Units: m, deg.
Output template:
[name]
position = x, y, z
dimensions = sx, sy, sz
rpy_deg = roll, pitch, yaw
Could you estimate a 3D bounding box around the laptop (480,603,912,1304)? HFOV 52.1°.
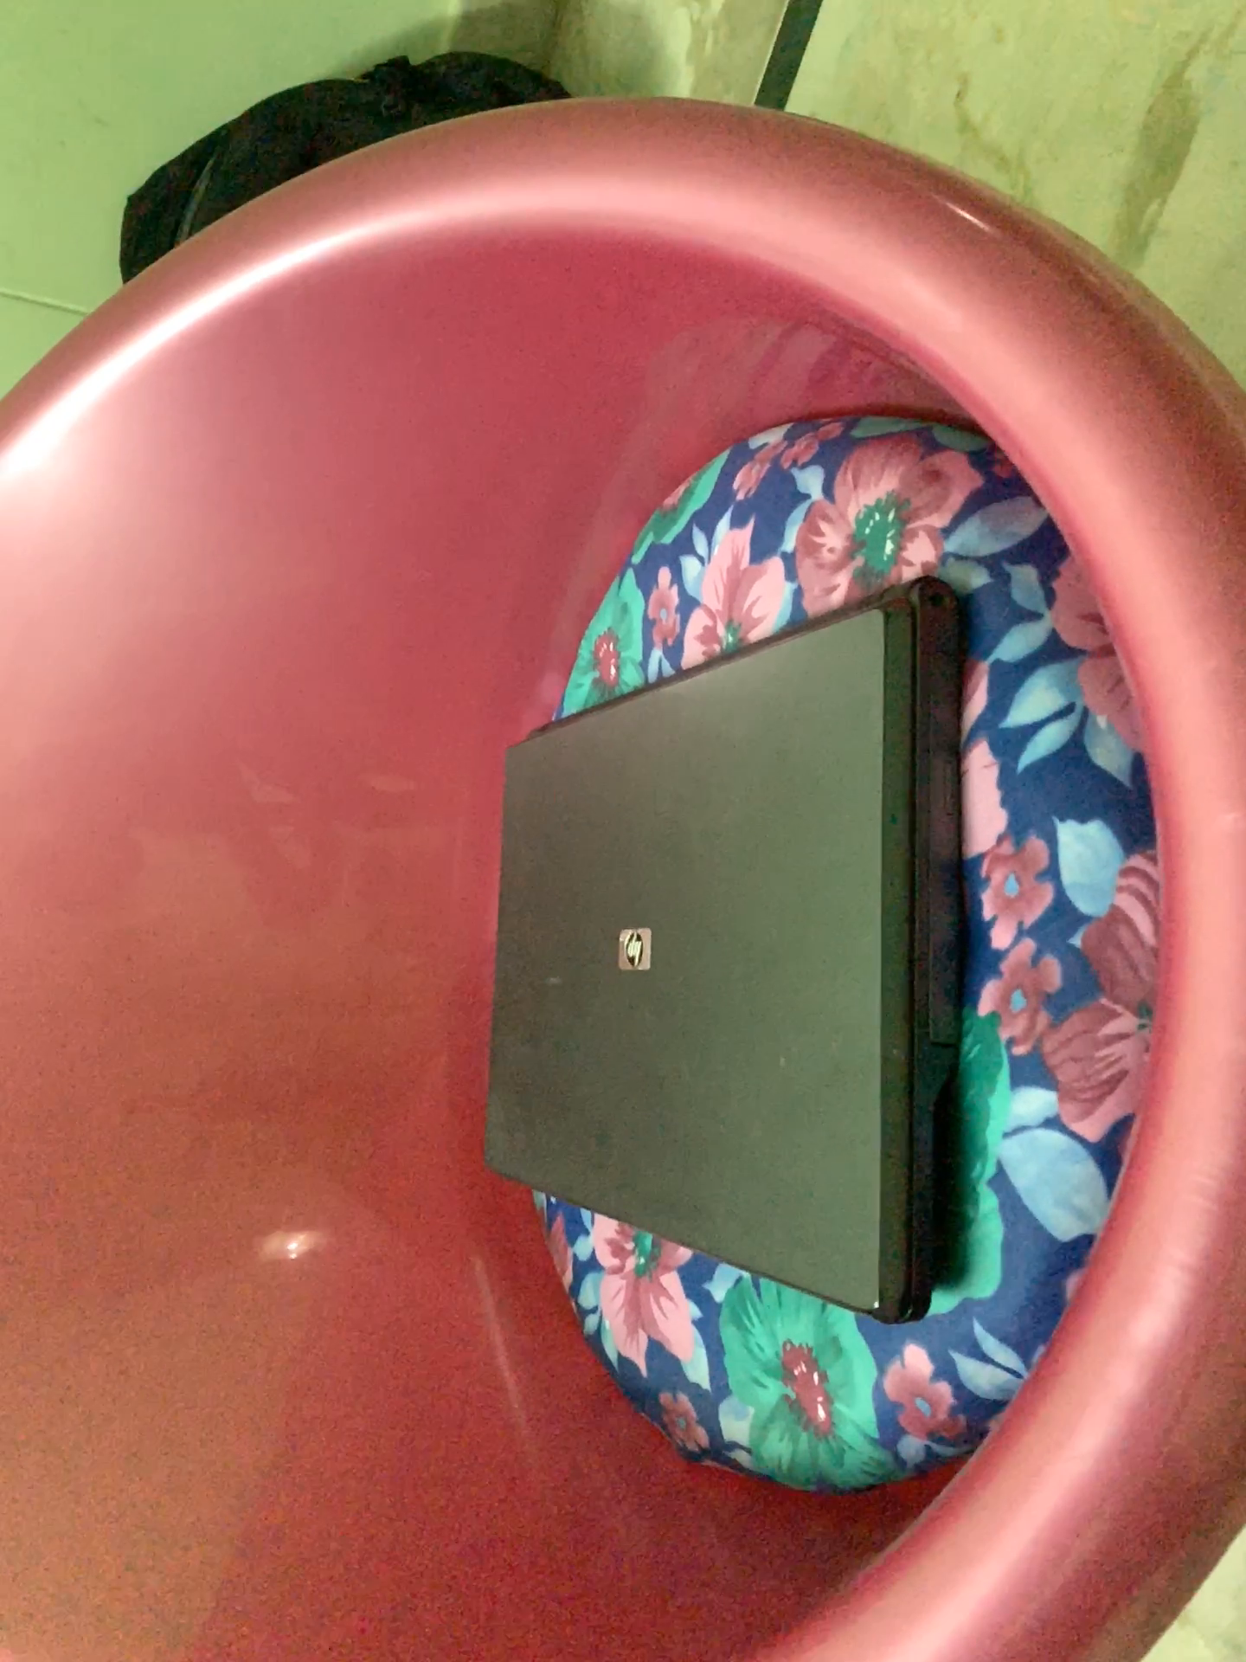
[laptop]
position = 0.011, 0.049, 0.536
dimensions = 0.305, 0.003, 0.222
rpy_deg = -9, 77, 58
